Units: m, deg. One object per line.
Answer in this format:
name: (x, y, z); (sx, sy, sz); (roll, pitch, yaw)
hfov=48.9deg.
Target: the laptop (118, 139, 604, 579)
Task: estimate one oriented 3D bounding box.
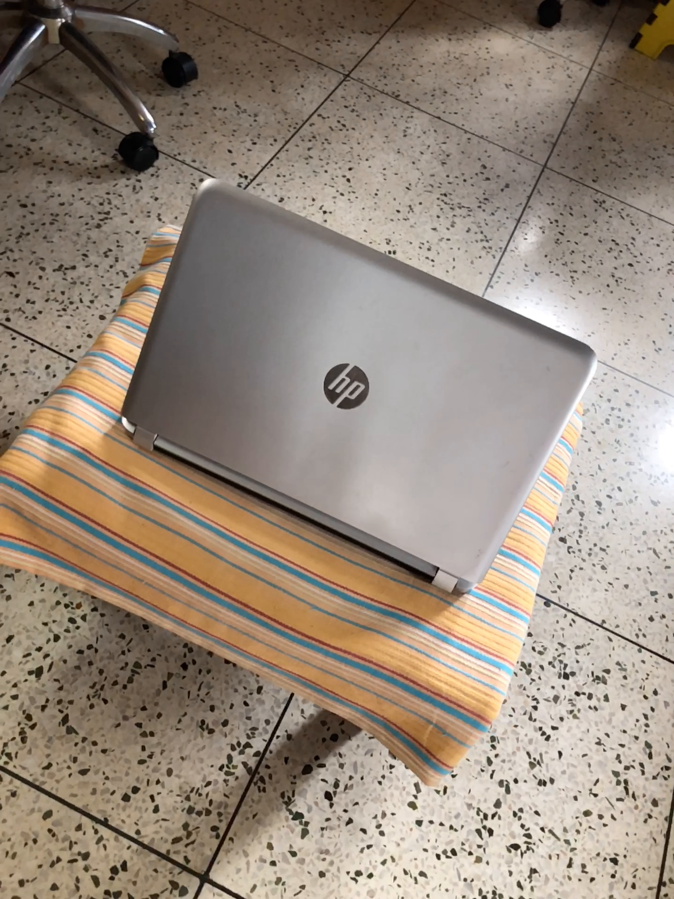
laptop: (0.021, -0.089, 0.719); (0.371, 0.184, 0.237); (25, 55, 3)
